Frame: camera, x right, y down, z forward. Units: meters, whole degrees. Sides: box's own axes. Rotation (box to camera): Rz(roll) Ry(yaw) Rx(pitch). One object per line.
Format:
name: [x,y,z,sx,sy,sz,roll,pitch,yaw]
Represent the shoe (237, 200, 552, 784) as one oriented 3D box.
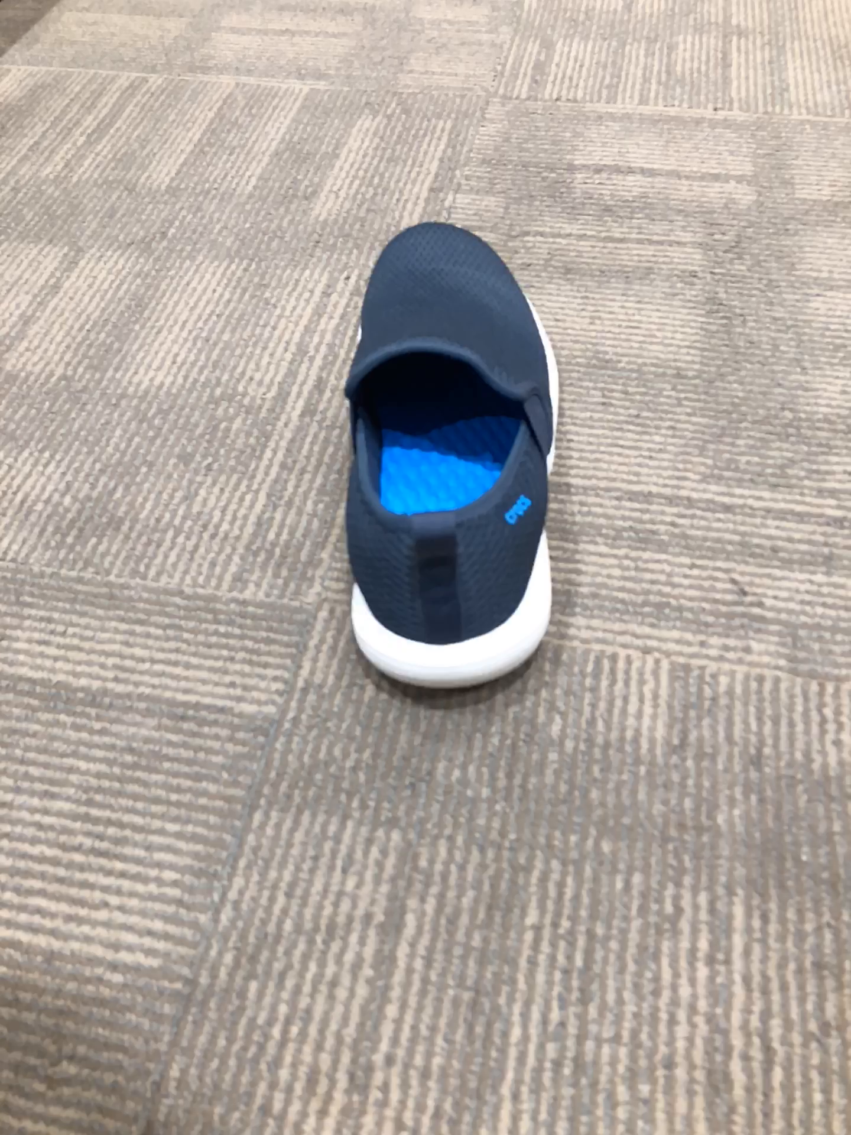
shoe: [0.000,-0.049,0.453,0.110,0.119,0.272,2,52,4]
